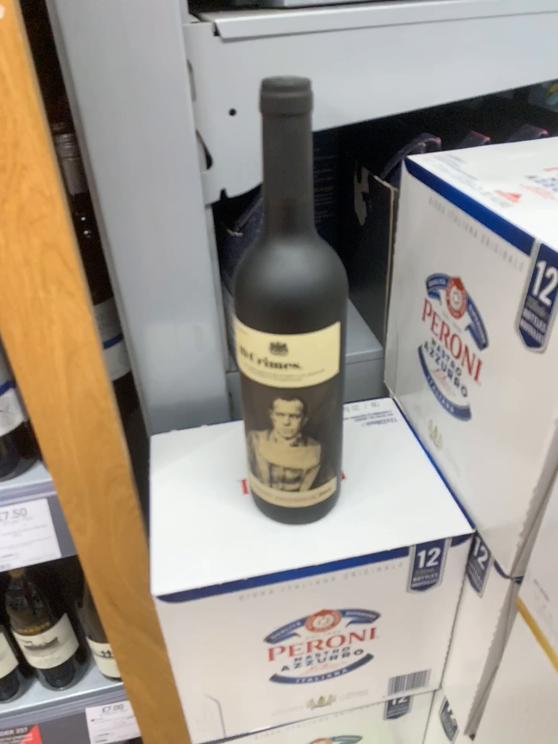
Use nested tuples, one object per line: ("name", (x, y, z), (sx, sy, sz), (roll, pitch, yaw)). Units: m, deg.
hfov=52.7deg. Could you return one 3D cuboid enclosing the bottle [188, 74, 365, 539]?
("bottle", (0.009, -0.023, 0.361), (0.078, 0.288, 0.075), (-2, 34, 1))
